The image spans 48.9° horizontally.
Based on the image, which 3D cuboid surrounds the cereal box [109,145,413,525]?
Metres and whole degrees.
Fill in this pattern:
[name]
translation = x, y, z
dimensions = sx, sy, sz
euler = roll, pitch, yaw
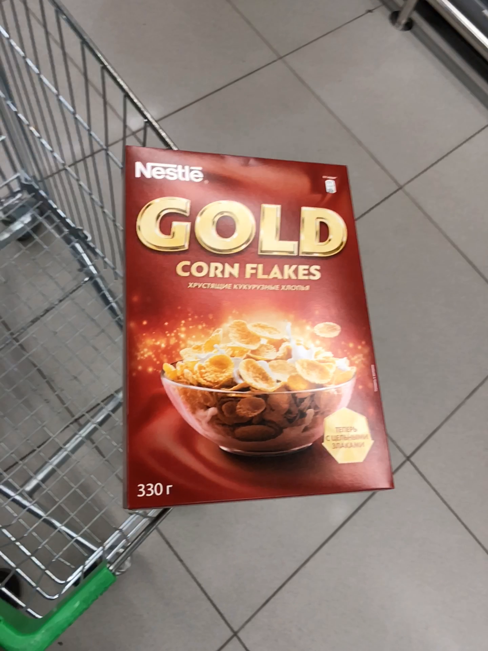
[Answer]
[cereal box]
translation = 0.002, 0.001, 0.430
dimensions = 0.210, 0.060, 0.280
euler = 0, 72, -13
